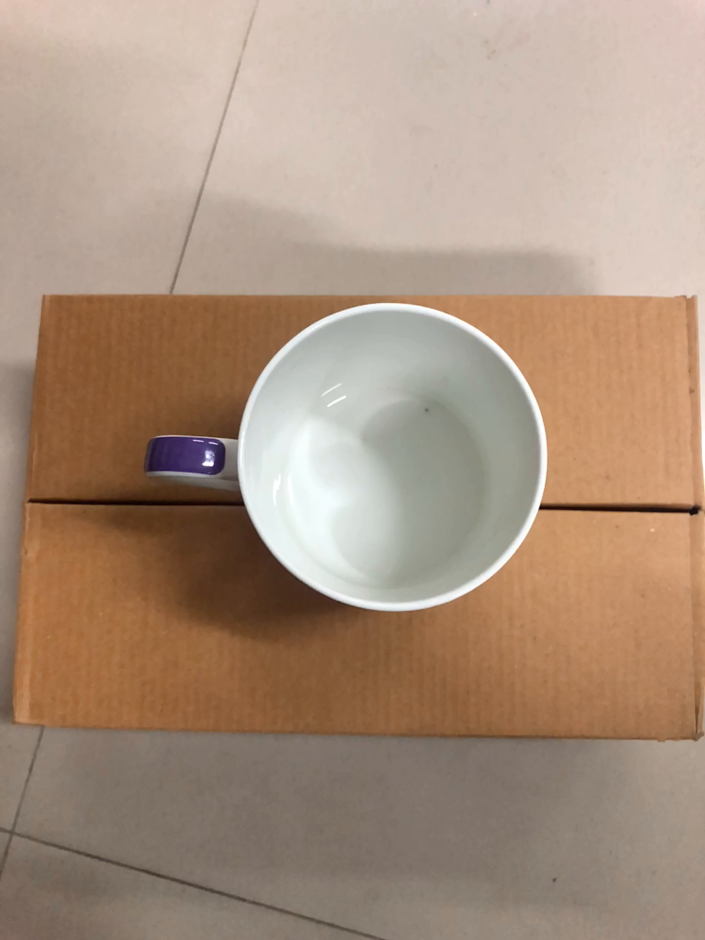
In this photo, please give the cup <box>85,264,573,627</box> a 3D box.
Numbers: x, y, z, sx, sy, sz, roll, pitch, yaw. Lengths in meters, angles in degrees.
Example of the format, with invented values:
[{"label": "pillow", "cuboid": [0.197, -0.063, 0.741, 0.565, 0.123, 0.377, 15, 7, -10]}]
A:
[{"label": "cup", "cuboid": [-0.004, -0.002, 0.244, 0.120, 0.090, 0.090, 1, 83, 2]}]
